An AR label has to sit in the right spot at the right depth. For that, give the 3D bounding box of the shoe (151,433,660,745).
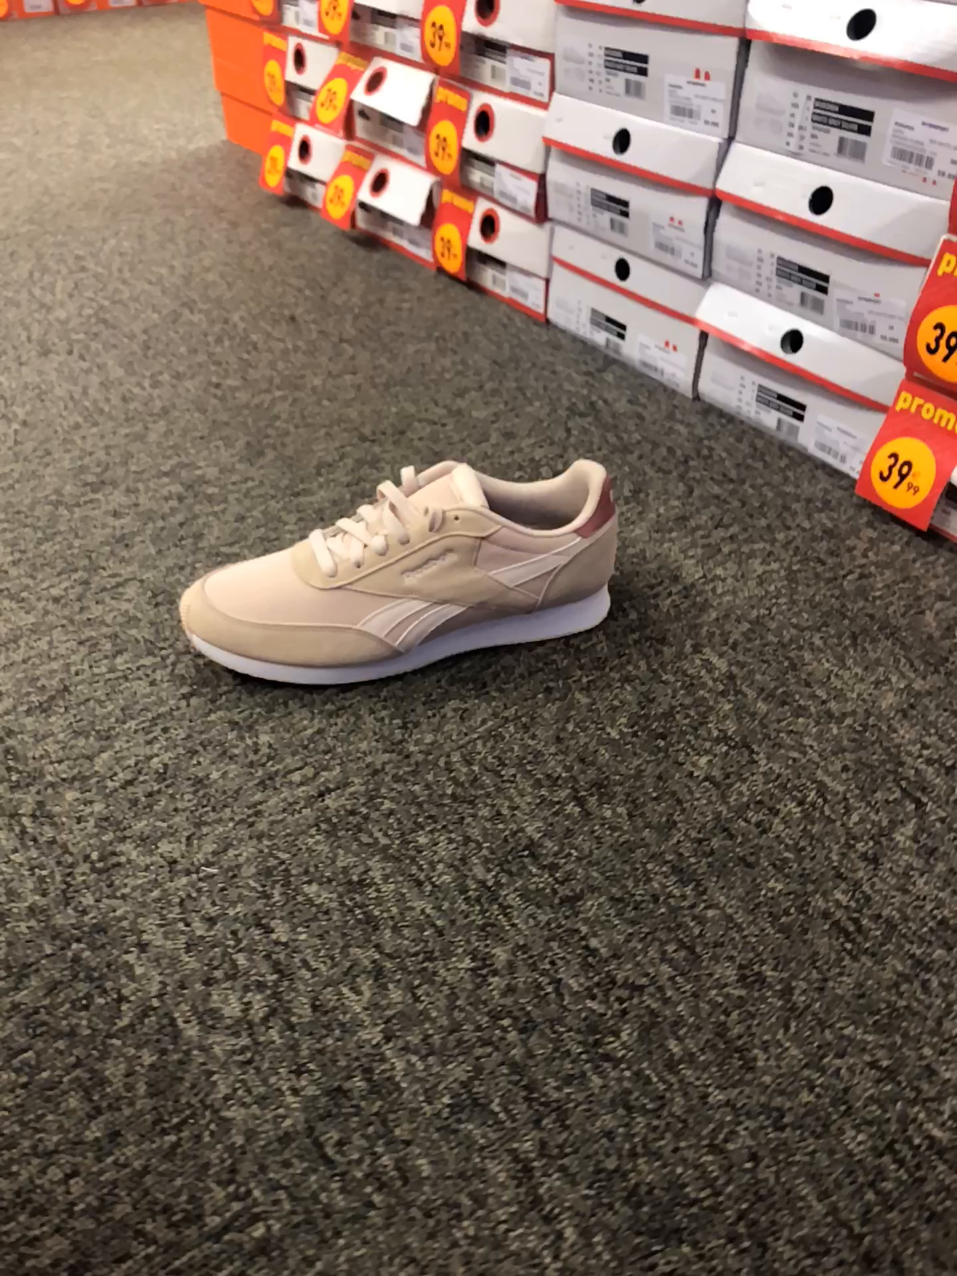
[{"bbox_3d":[-0.044,-0.033,0.624,0.270,0.109,0.100,-9,39,-11],"label":"shoe"}]
